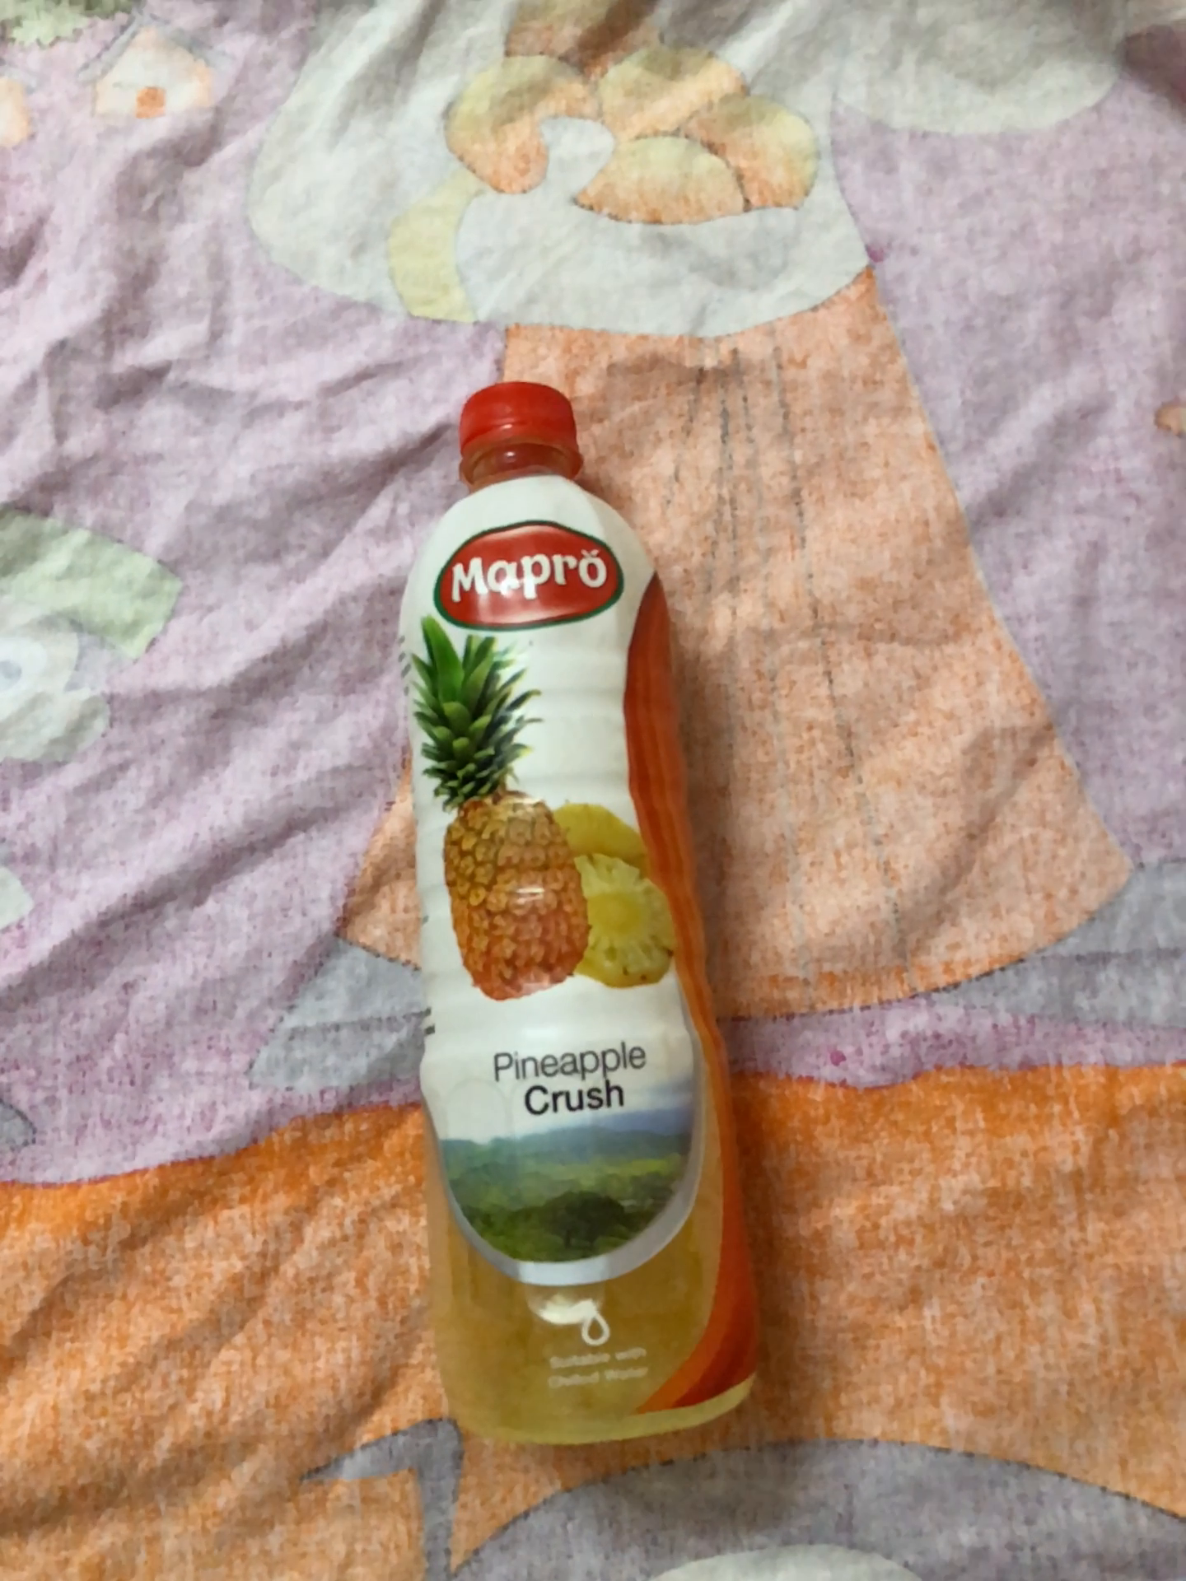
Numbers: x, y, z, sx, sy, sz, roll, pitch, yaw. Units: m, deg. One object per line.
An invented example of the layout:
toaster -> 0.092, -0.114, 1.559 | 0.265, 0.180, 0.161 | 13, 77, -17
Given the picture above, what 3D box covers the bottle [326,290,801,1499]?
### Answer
bottle -> -0.010, 0.016, 0.305 | 0.080, 0.060, 0.250 | -5, 79, -1
